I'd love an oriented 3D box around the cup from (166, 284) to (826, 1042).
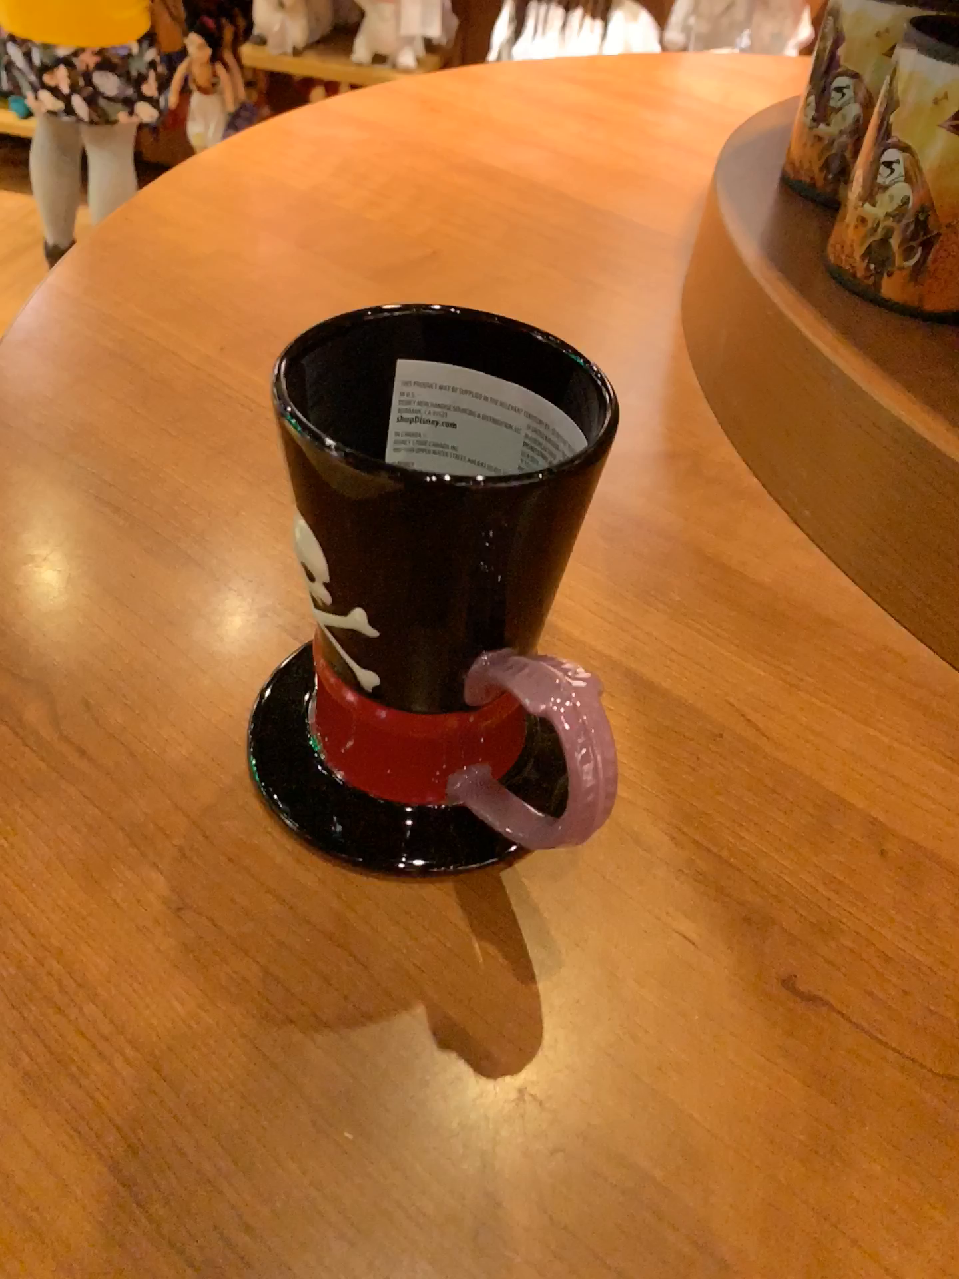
[{"bbox_3d":[-0.010,0.001,0.286,0.110,0.144,0.135,-16,48,-23],"label":"cup"}]
